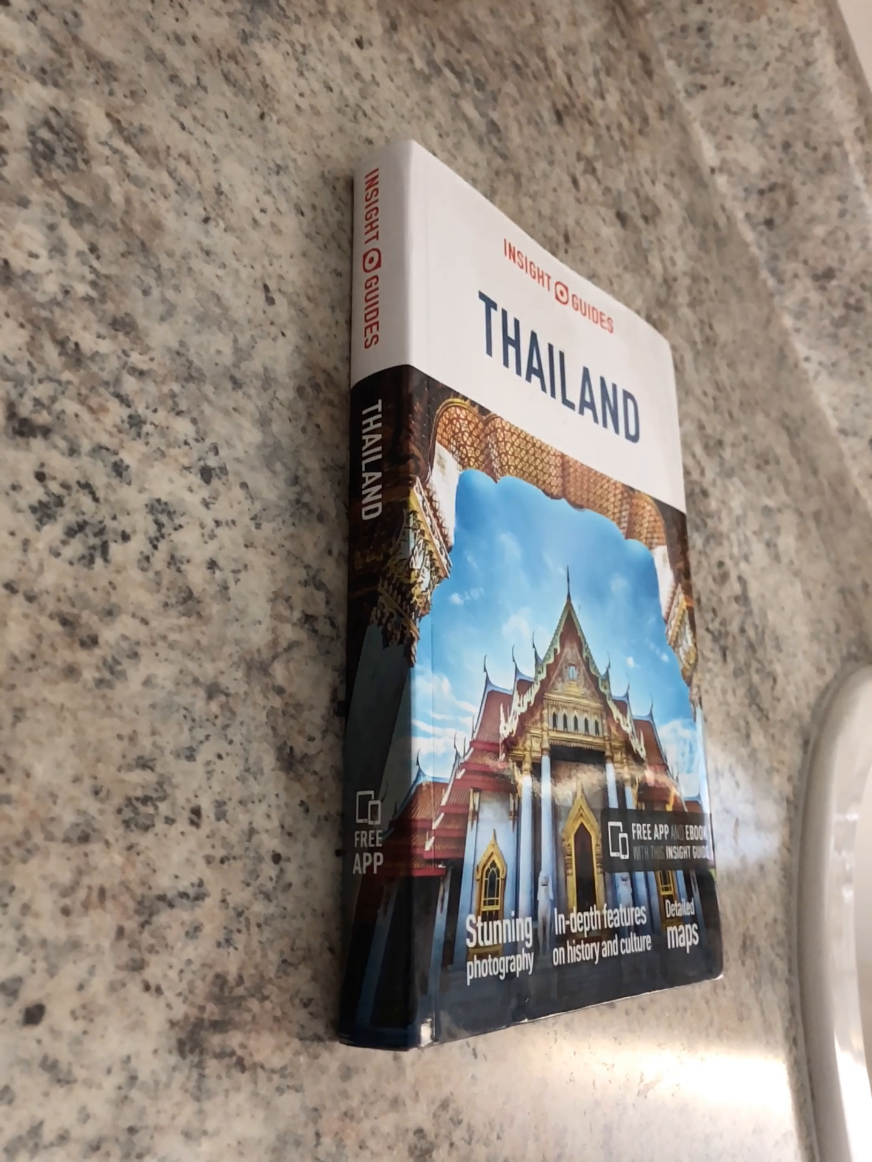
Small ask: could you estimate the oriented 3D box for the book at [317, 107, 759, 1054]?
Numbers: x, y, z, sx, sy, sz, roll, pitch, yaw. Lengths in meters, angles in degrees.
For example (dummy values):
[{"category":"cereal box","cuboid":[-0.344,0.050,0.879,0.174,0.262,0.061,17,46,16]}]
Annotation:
[{"category":"book","cuboid":[0.035,0.003,0.303,0.165,0.030,0.240,18,62,-47]}]
